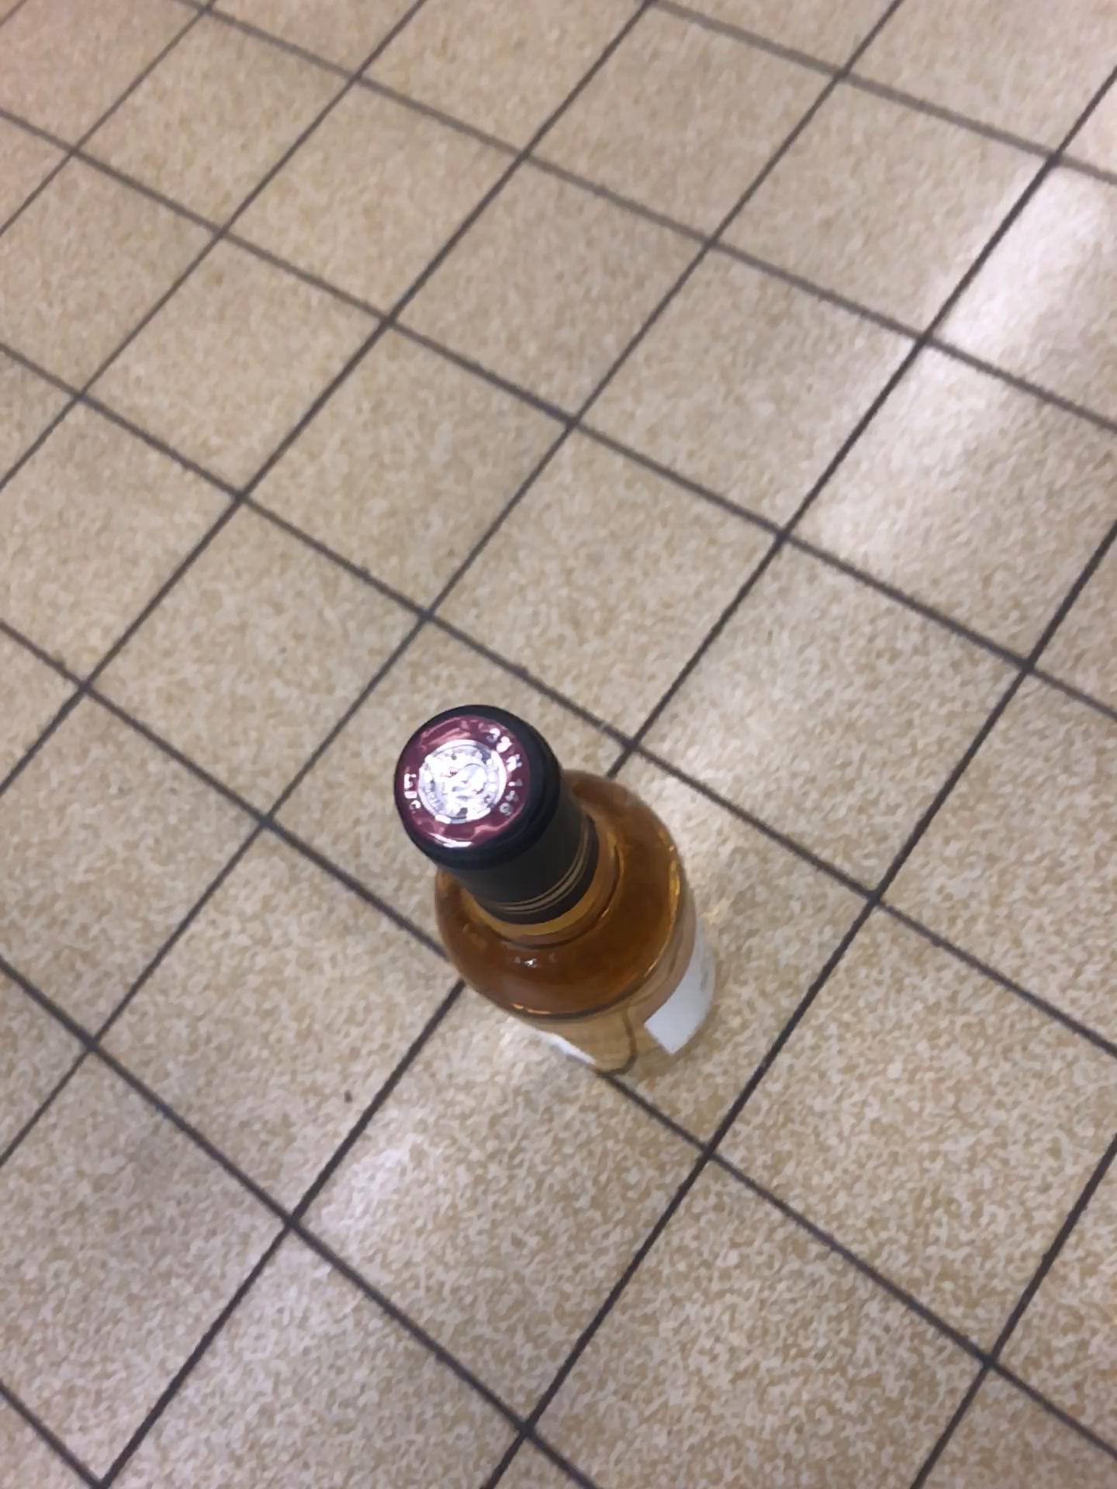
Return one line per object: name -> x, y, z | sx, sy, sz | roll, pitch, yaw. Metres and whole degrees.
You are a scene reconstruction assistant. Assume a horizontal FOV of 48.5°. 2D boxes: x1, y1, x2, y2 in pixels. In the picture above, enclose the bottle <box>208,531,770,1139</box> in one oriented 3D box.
bottle -> 0.005, 0.047, 0.320 | 0.070, 0.240, 0.070 | -3, 70, 9
